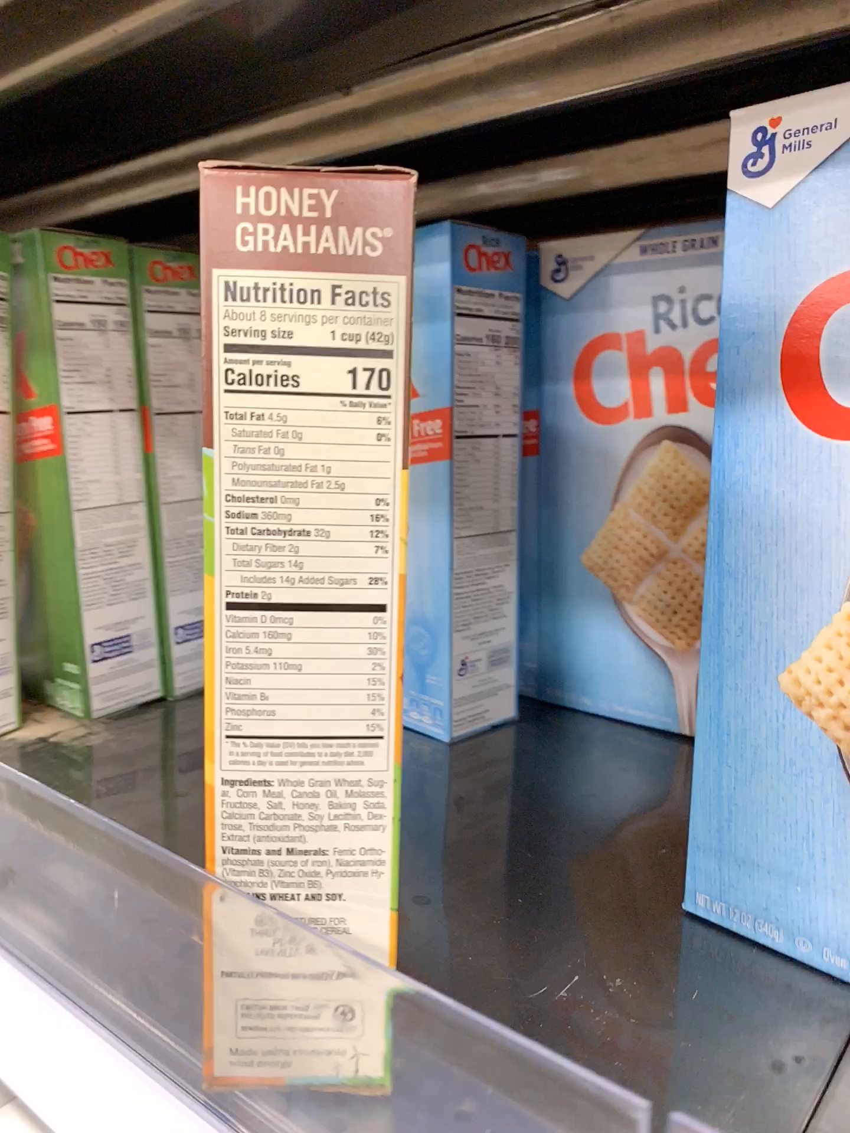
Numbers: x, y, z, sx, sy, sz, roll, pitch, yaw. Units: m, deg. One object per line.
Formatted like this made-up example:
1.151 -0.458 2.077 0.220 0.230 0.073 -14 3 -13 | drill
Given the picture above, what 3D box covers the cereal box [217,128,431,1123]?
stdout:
-0.036 0.010 0.326 0.050 0.260 0.200 1 8 -5 | cereal box
